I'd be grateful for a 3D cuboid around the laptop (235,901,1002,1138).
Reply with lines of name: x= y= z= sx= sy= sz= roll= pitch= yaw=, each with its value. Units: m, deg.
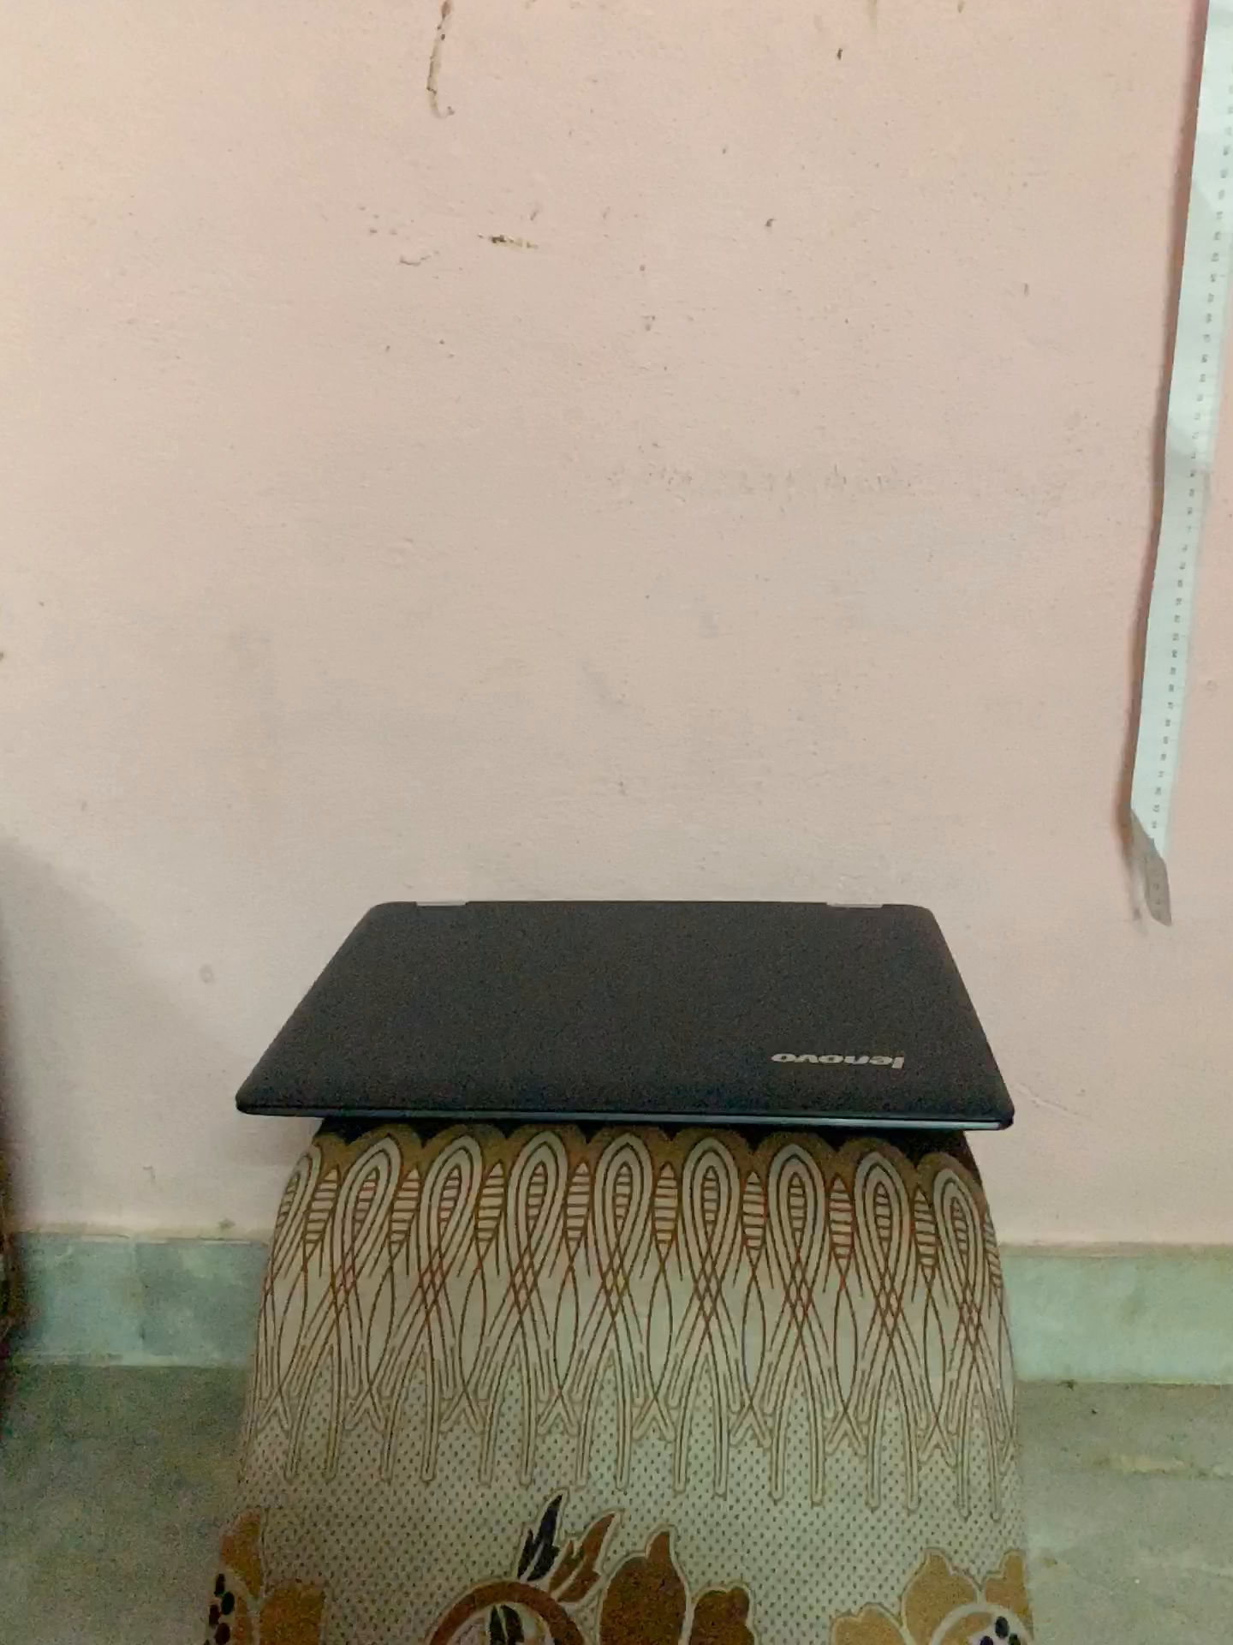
laptop: x=0.007 y=0.086 z=0.615 sx=0.312 sy=0.012 sz=0.214 roll=0 pitch=19 yaw=5
